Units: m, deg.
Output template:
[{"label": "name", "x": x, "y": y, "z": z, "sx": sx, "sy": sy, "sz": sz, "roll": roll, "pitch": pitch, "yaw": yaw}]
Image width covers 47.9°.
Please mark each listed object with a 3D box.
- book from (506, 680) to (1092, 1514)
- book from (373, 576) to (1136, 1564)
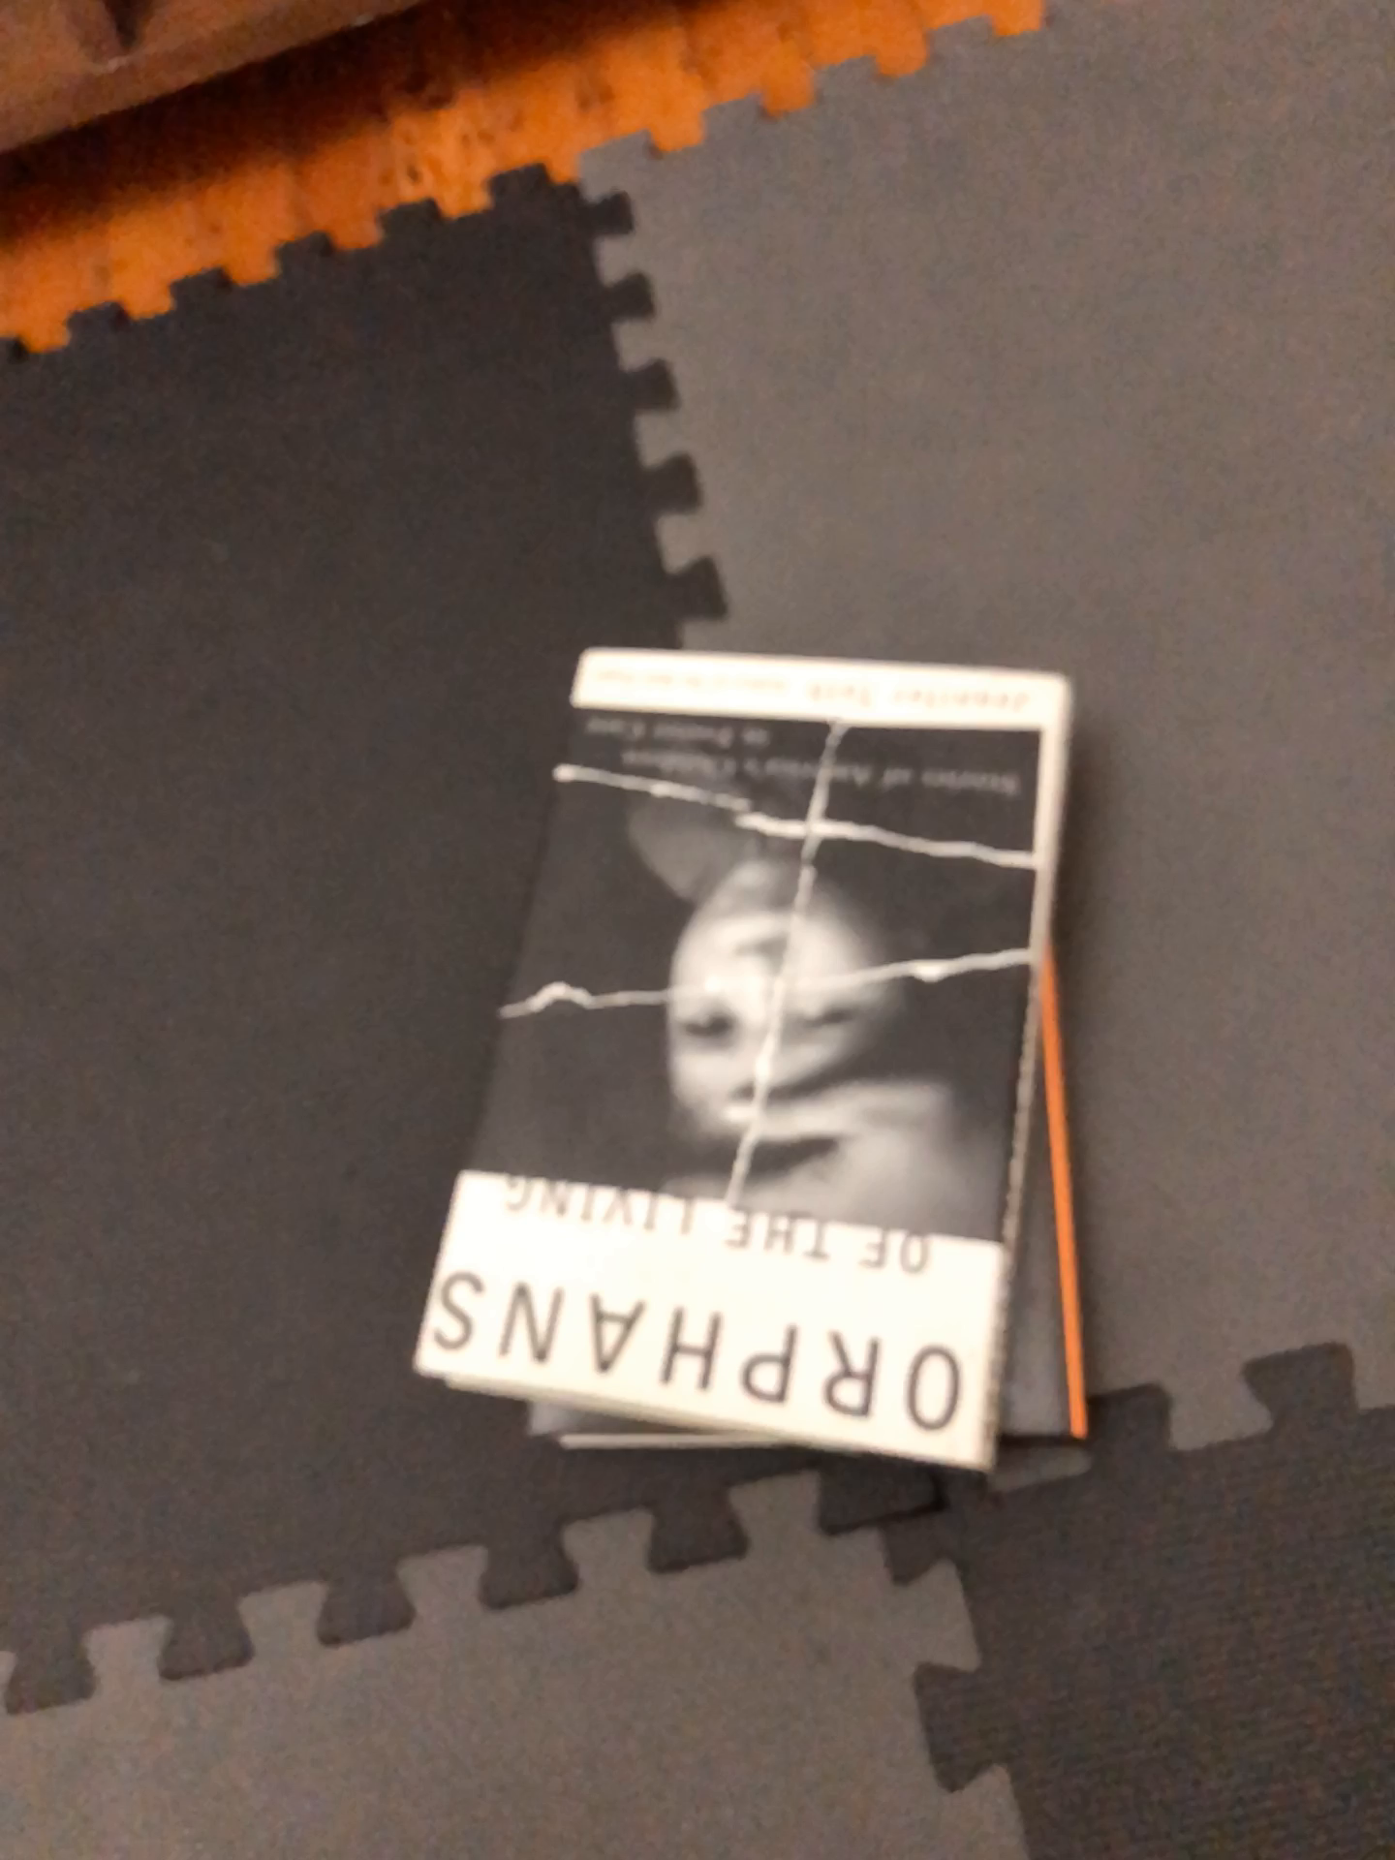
[{"label": "book", "x": 0.028, "y": 0.046, "z": 0.488, "sx": 0.160, "sy": 0.030, "sz": 0.251, "roll": -5, "pitch": 65, "yaw": 12}, {"label": "book", "x": 0.026, "y": 0.022, "z": 0.466, "sx": 0.180, "sy": 0.030, "sz": 0.281, "roll": 4, "pitch": 68, "yaw": 16}]
